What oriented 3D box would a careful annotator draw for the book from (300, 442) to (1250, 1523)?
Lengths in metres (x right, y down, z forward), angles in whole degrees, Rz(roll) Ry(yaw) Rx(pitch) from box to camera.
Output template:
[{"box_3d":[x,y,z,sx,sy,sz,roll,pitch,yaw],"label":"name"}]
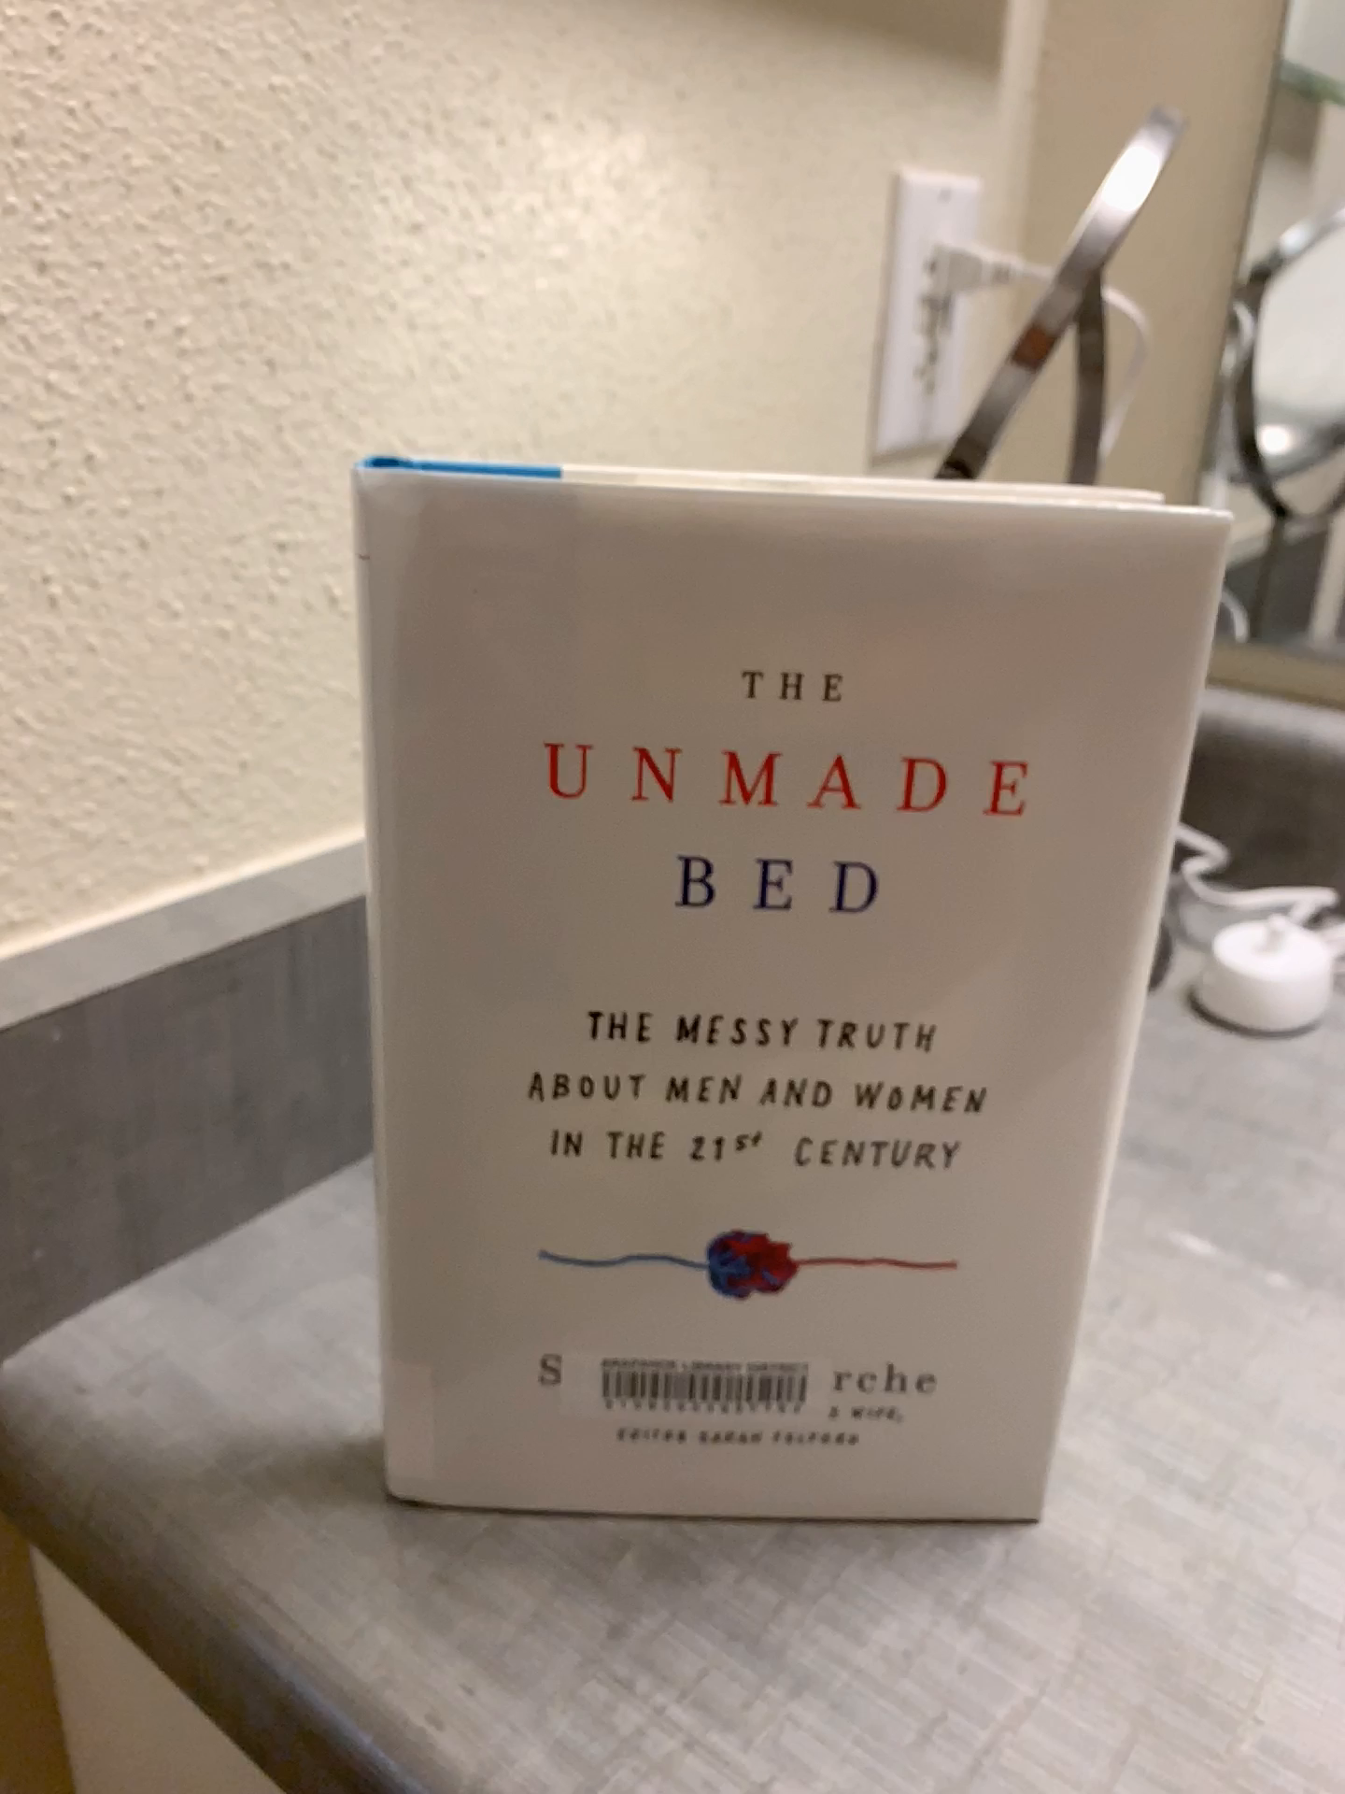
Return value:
[{"box_3d":[0.012,0.027,0.280,0.152,0.214,0.033,2,21,-2],"label":"book"}]
